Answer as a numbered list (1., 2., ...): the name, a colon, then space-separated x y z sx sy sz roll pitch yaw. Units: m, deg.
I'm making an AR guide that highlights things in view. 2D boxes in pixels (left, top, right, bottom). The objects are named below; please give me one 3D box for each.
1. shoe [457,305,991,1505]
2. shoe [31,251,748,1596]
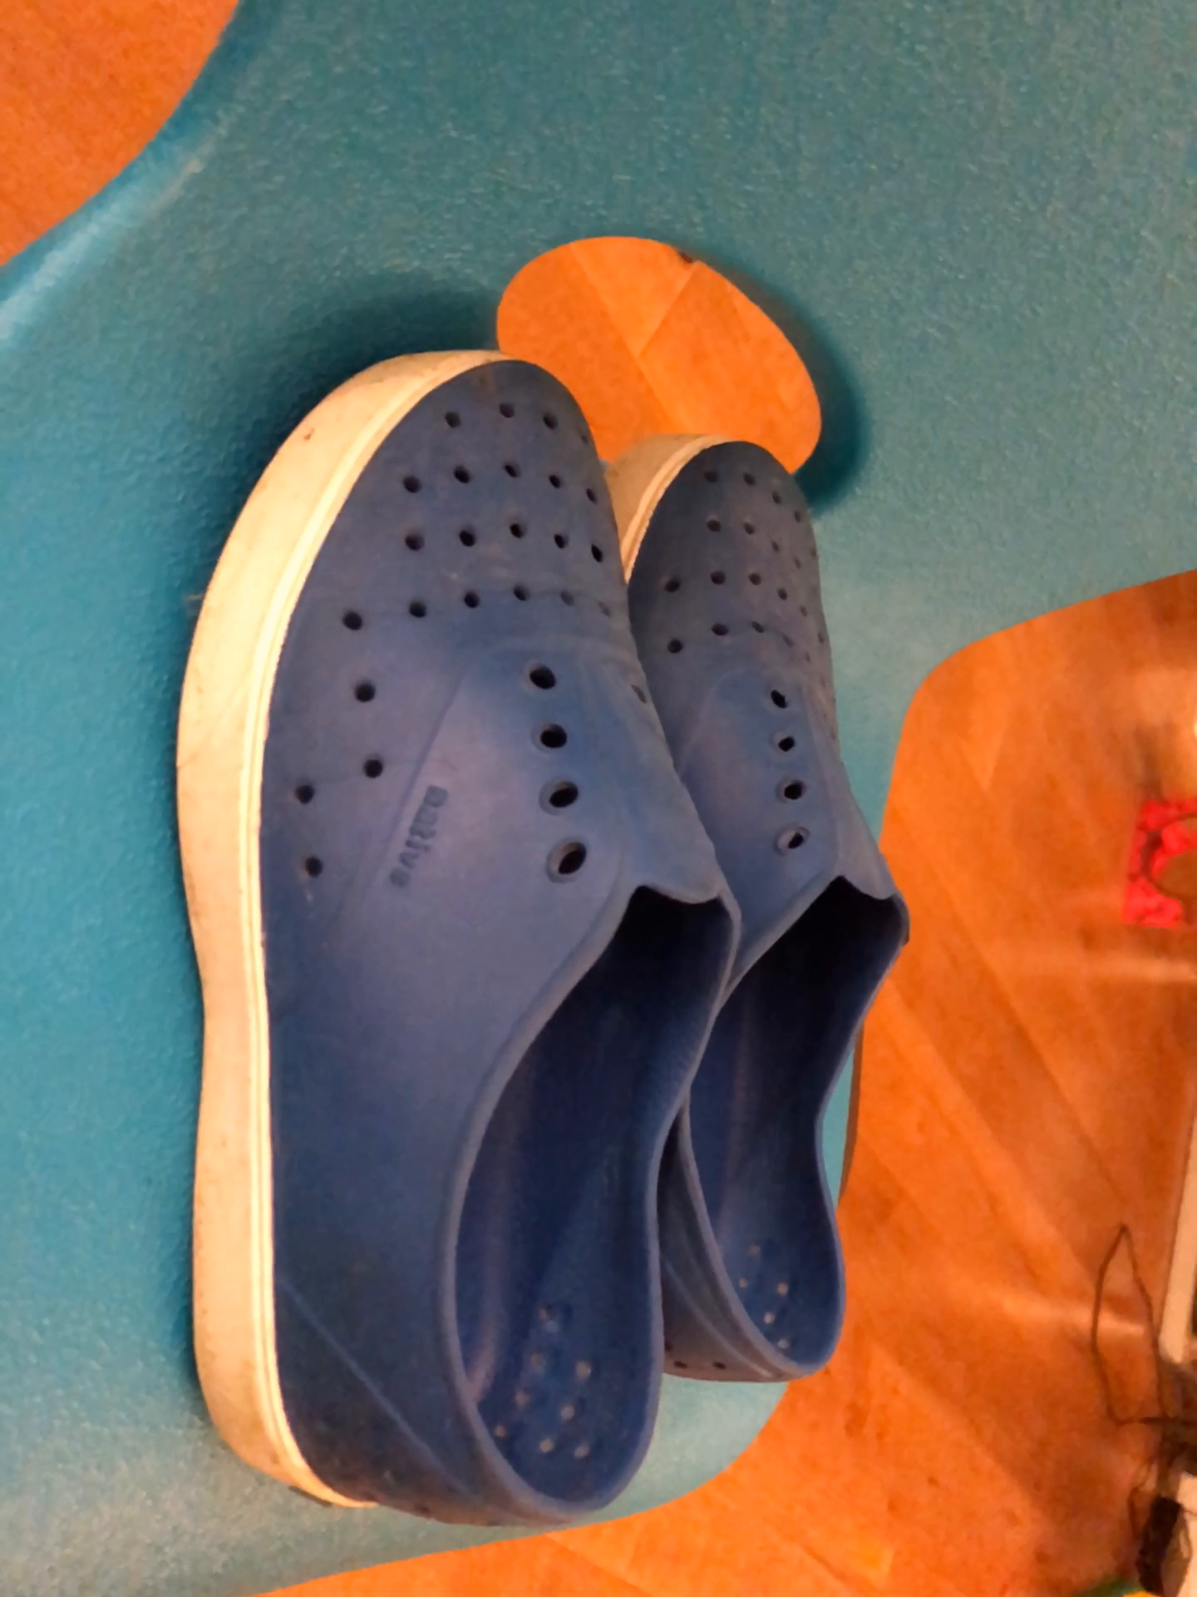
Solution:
1. shoe: 0.036 0.022 0.325 0.100 0.070 0.240 11 81 -50
2. shoe: -0.036 0.022 0.261 0.090 0.080 0.210 11 81 -50
